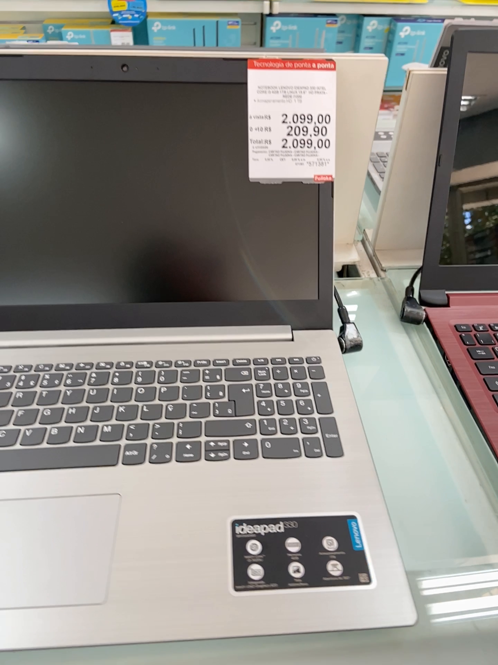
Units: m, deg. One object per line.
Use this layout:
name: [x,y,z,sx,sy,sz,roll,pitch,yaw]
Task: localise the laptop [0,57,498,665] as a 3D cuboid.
laptop: [-0.099,-0.033,0.360,0.370,0.194,0.391,-1,42,-4]
